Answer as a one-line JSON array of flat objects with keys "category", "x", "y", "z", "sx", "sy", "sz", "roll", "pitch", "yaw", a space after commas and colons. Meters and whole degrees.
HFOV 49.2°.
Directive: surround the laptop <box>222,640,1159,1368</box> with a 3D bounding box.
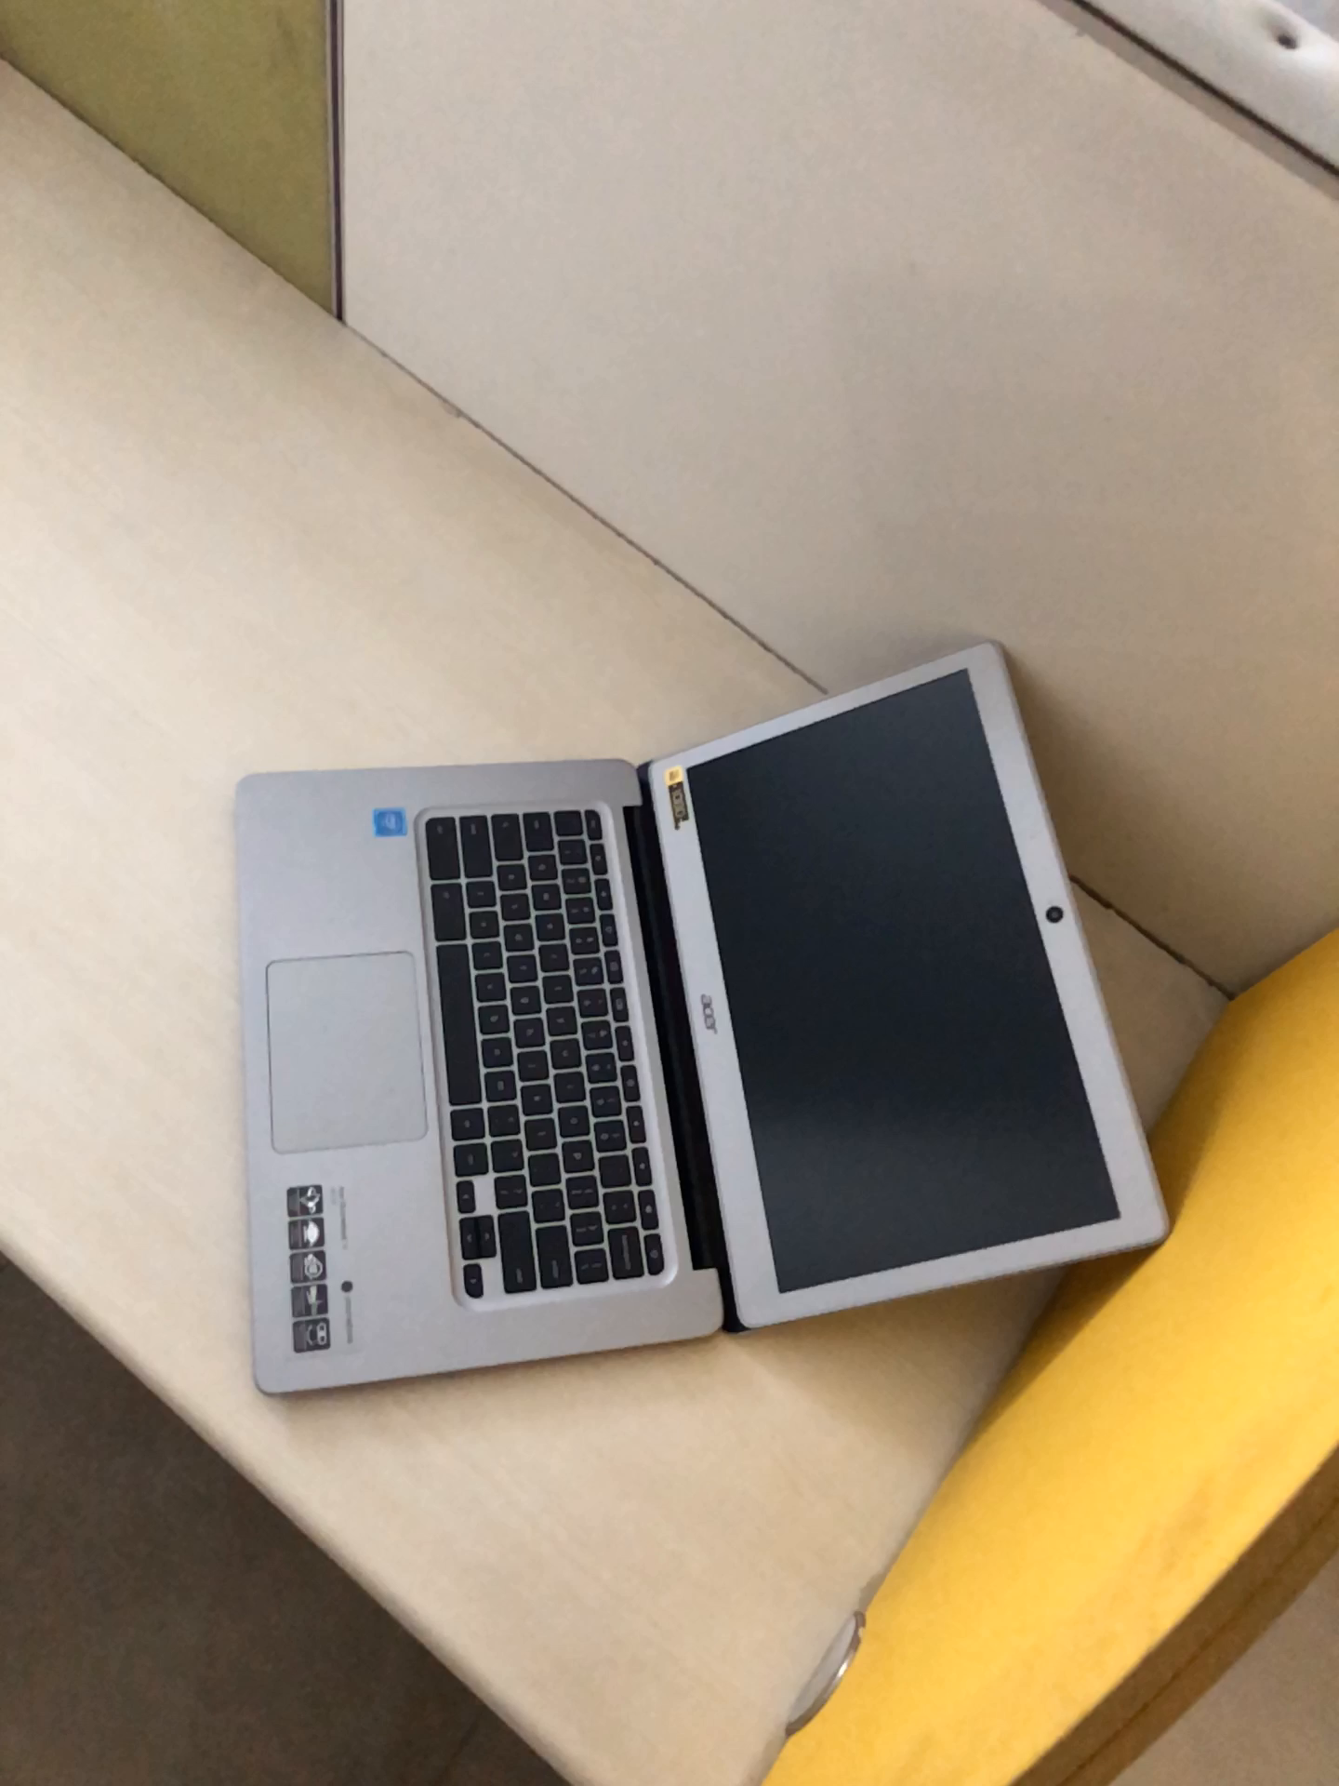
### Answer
[{"category": "laptop", "x": -0.009, "y": 0.044, "z": 0.750, "sx": 0.409, "sy": 0.124, "sz": 0.320, "roll": -4, "pitch": 65, "yaw": -12}]
